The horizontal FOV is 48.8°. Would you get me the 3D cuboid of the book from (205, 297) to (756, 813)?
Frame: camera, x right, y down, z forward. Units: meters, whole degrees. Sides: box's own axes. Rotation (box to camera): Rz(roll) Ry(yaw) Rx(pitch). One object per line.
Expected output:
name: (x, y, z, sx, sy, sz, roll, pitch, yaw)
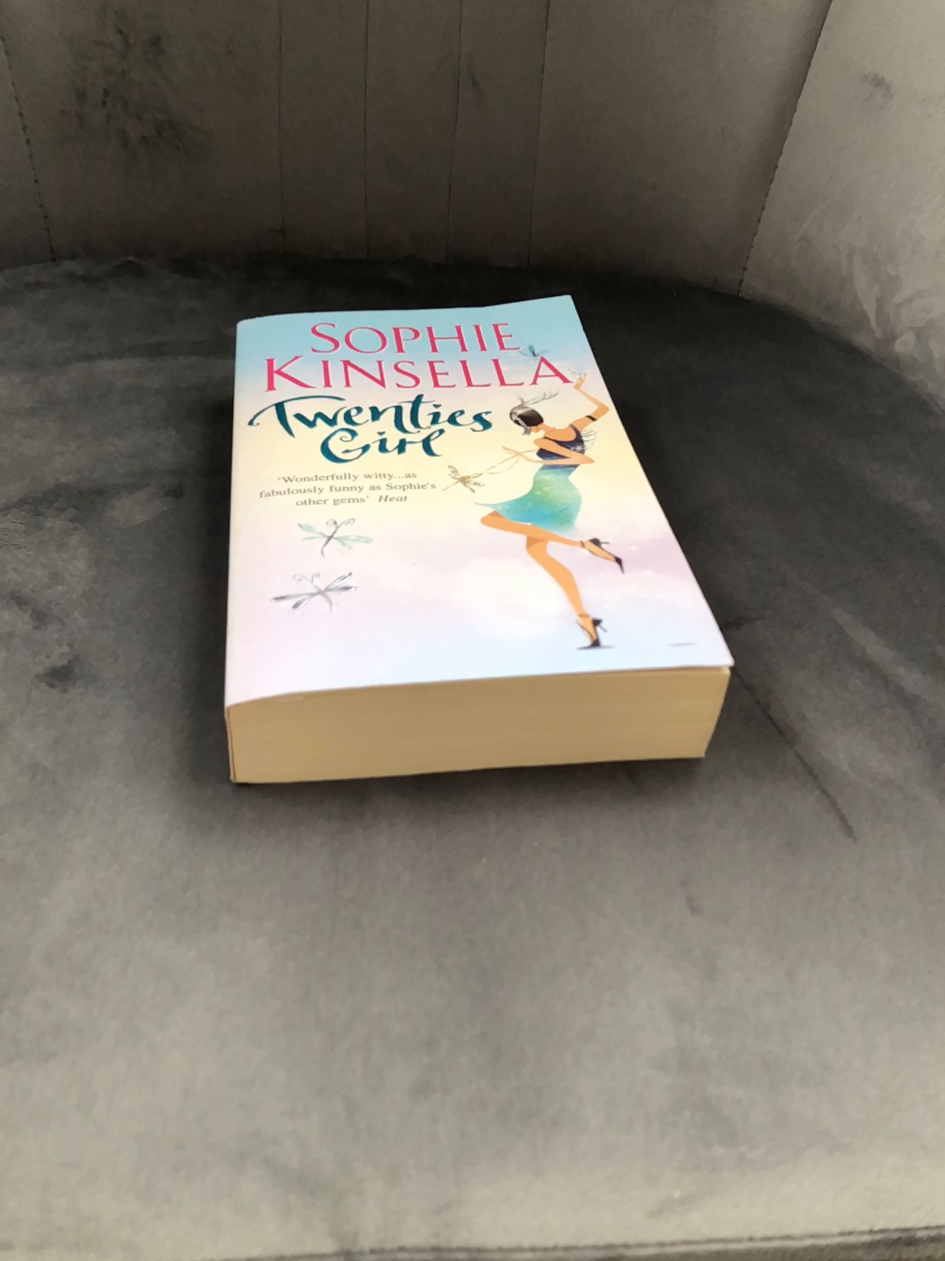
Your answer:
book: (-0.012, -0.040, 0.332, 0.132, 0.043, 0.201, -2, 43, -10)
